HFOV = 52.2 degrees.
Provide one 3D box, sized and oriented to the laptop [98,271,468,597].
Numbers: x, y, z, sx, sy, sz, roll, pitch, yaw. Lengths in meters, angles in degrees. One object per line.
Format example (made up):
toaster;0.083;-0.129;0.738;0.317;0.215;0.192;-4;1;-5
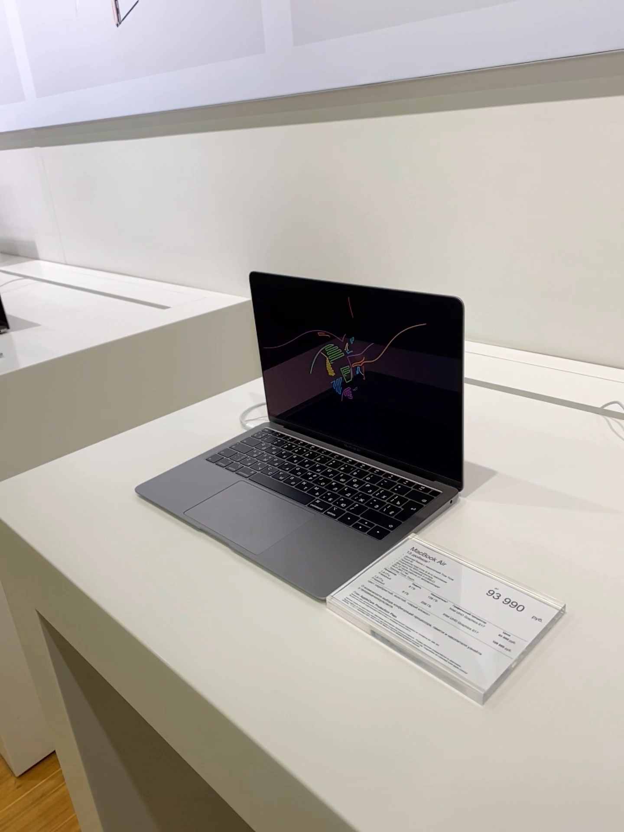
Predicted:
laptop;-0.029;-0.015;0.672;0.302;0.211;0.225;17;31;42
